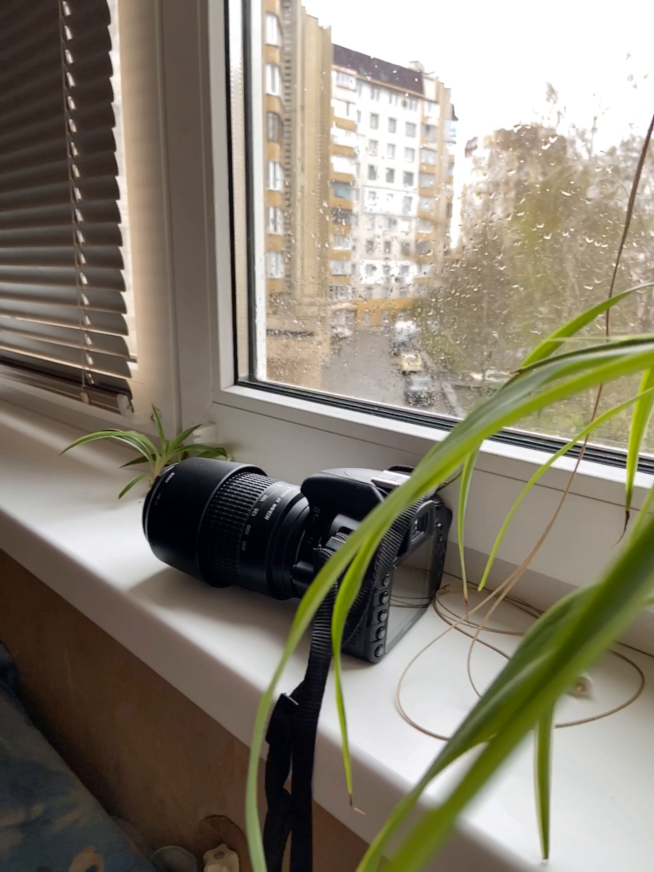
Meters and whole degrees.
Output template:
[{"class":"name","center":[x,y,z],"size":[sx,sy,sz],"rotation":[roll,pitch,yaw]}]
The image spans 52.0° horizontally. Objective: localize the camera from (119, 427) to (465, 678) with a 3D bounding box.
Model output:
[{"class":"camera","center":[-0.022,0.062,0.451],"size":[0.190,0.089,0.125],"rotation":[9,16,28]}]
